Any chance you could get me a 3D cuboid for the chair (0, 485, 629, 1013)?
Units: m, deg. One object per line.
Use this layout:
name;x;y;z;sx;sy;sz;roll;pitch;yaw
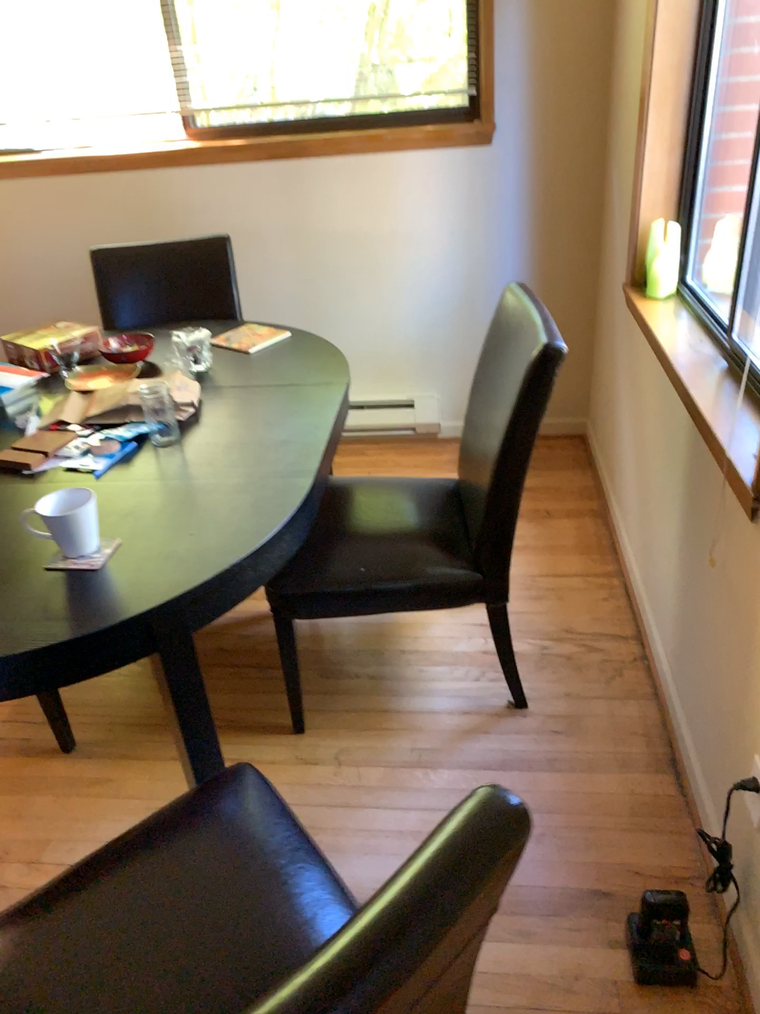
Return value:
chair;-0.201;0.668;0.958;0.621;1.083;0.653;-27;36;-32
